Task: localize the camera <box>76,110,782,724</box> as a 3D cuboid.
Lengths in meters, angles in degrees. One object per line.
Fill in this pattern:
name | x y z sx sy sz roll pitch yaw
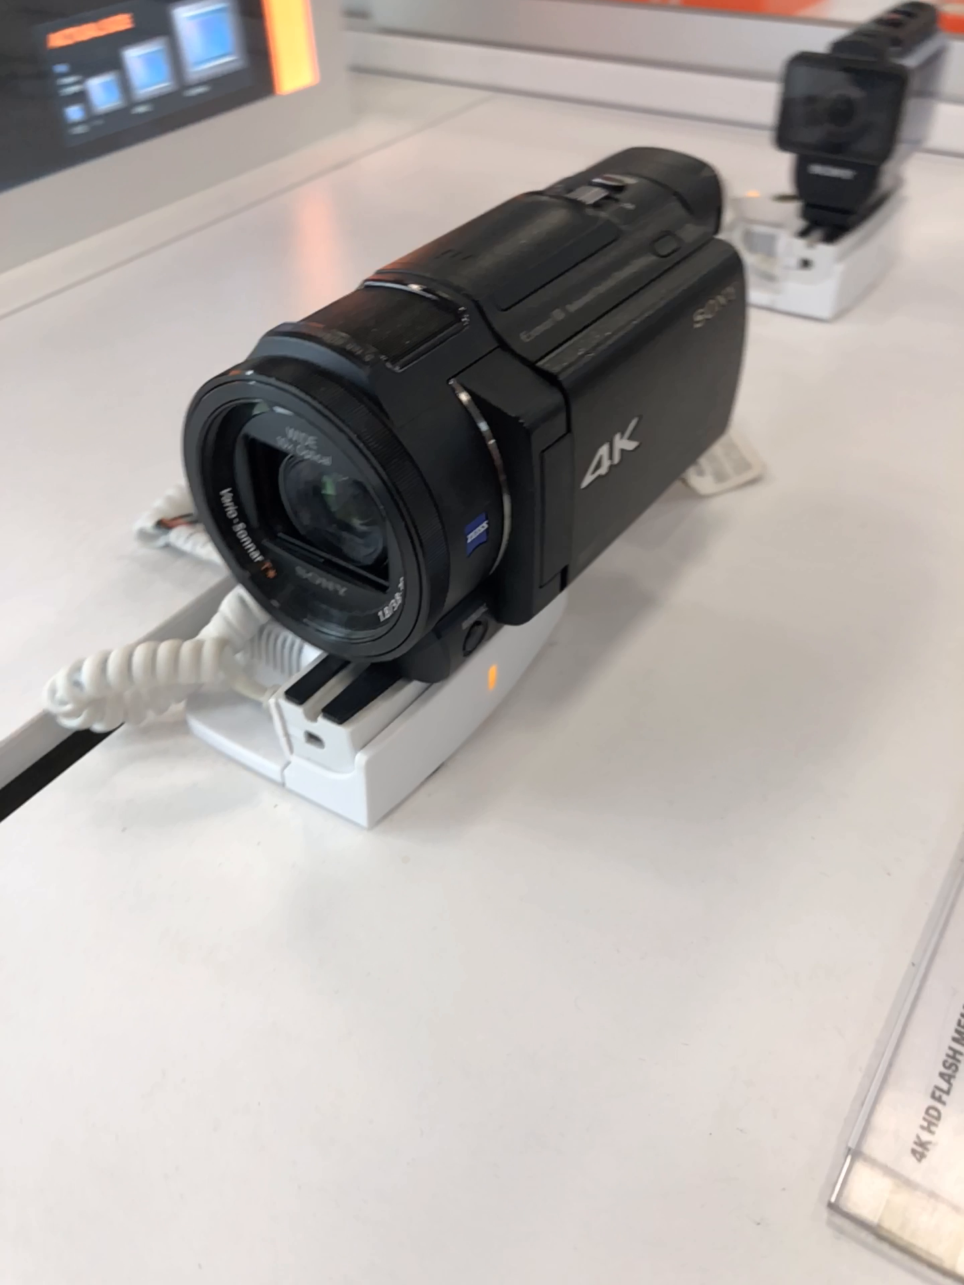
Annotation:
camera | -0.001 -0.066 0.259 0.080 0.070 0.150 23 47 26
